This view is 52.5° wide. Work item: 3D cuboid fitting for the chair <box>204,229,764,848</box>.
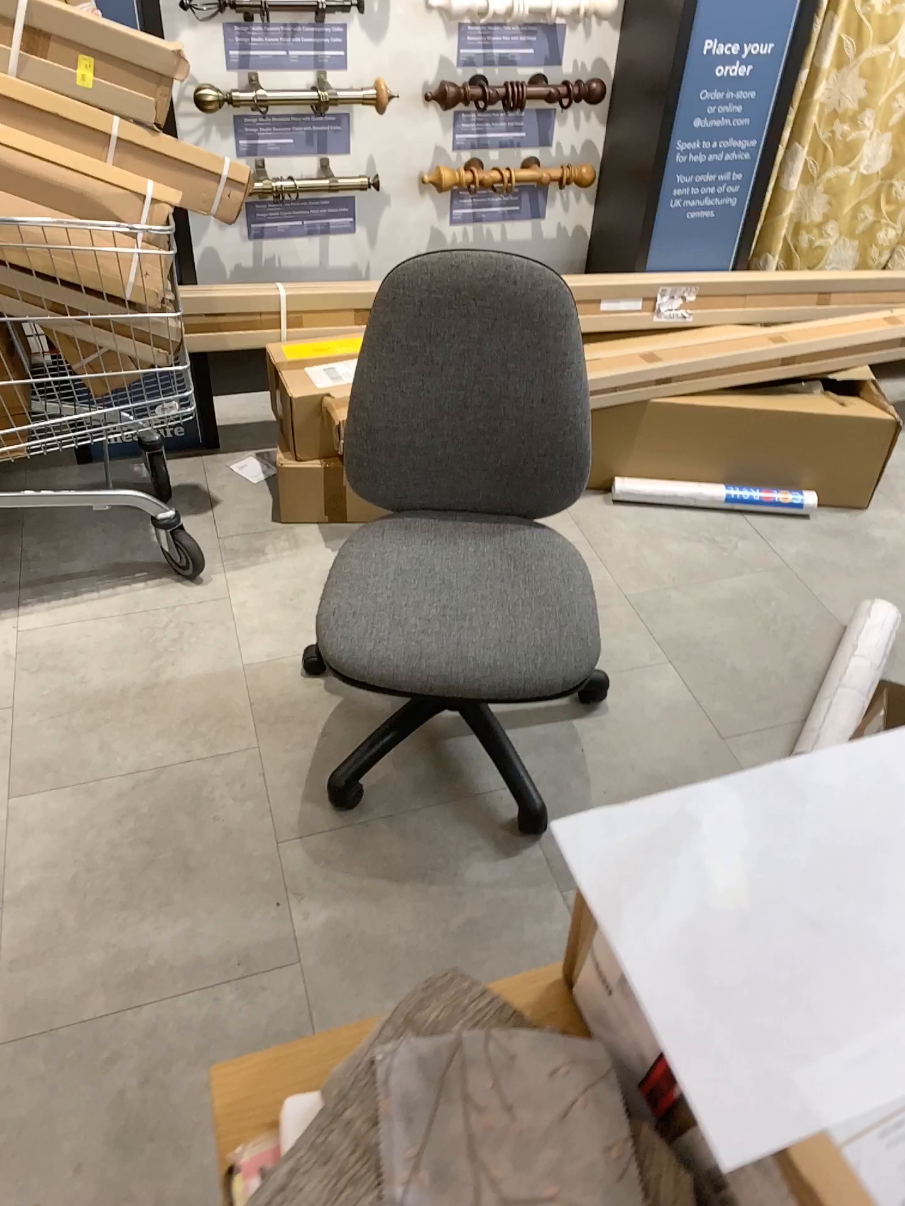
[{"bbox_3d":[0.026,-0.101,1.508,0.627,0.750,0.630,3,41,-1],"label":"chair"}]
